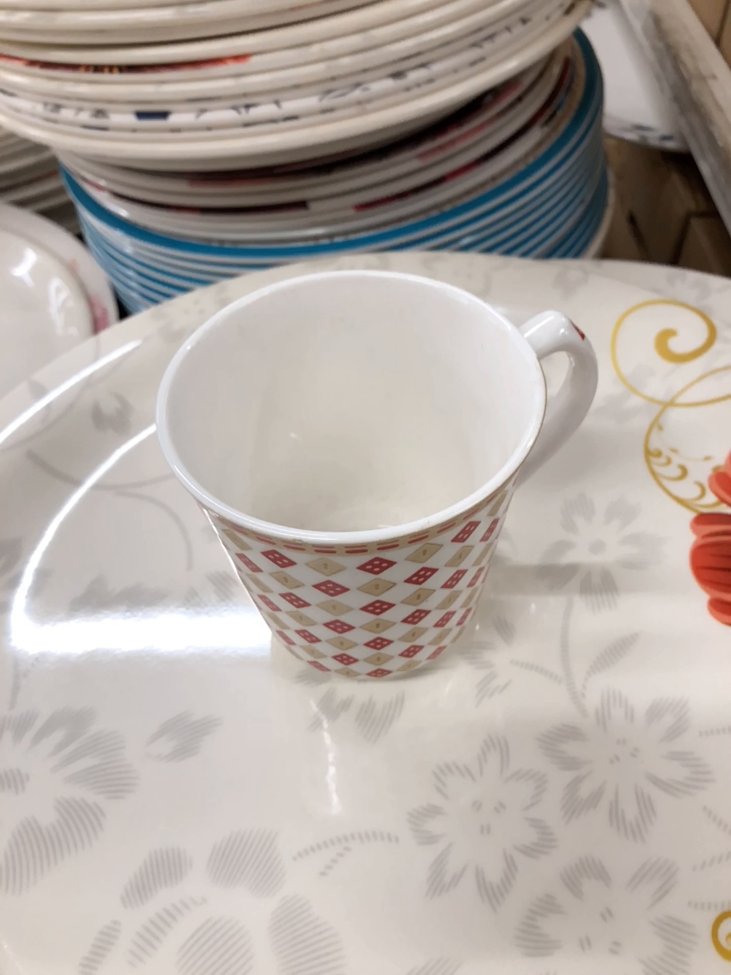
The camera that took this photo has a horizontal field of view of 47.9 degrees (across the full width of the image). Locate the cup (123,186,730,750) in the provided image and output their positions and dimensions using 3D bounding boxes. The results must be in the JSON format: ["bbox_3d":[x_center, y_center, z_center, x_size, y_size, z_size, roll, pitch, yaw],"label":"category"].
[{"bbox_3d":[0.016,-0.006,0.207,0.120,0.080,0.080,-17,52,-9],"label":"cup"}]
